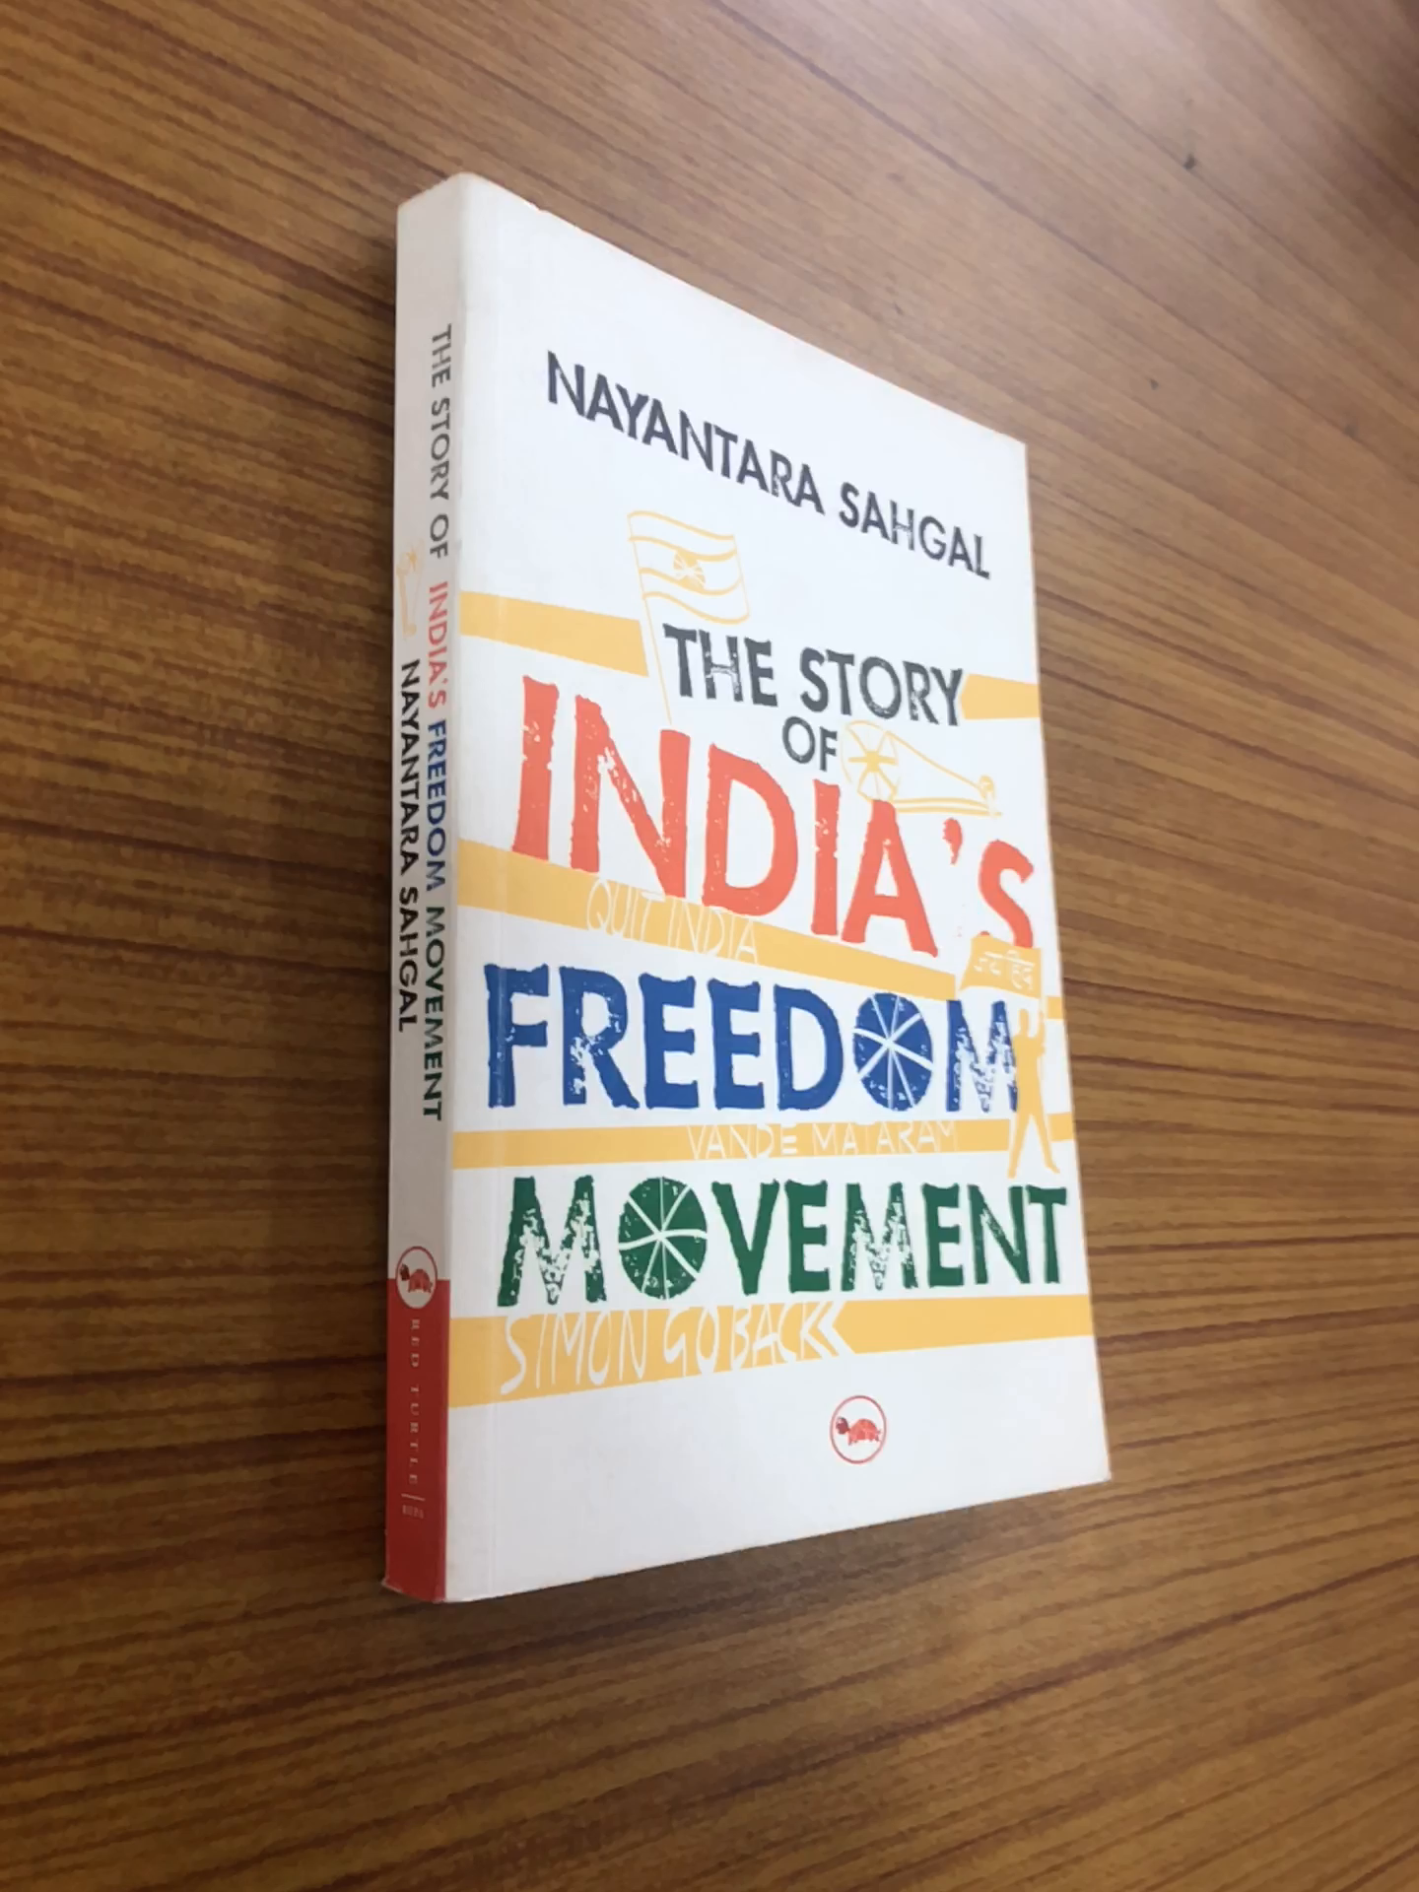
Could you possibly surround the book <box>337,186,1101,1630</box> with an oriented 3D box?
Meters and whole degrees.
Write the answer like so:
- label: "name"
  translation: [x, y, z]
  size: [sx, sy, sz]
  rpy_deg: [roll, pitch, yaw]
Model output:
- label: "book"
  translation: [0.007, -0.004, 0.259]
  size: [0.131, 0.030, 0.190]
  rpy_deg: [8, 77, -41]
